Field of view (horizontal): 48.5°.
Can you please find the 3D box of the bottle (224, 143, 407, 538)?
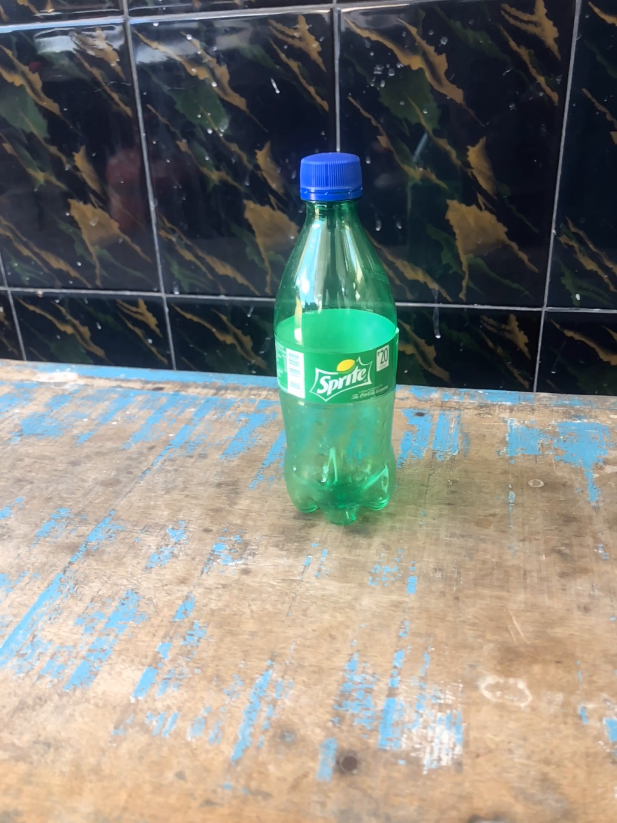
[{"bbox_3d":[0.005,-0.029,0.303,0.060,0.159,0.050,-10,27,-13],"label":"bottle"}]
